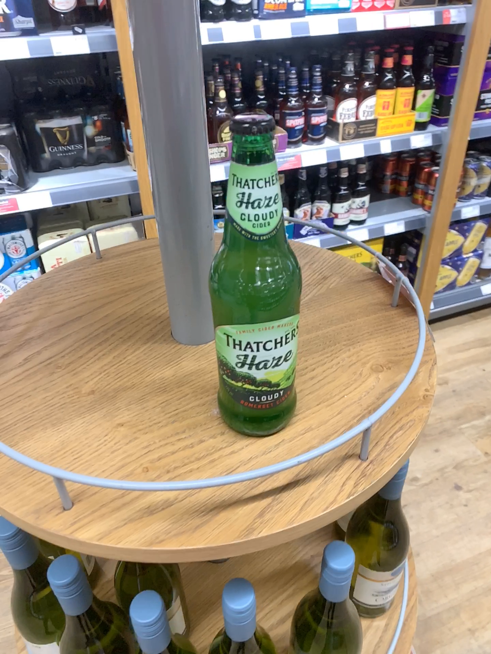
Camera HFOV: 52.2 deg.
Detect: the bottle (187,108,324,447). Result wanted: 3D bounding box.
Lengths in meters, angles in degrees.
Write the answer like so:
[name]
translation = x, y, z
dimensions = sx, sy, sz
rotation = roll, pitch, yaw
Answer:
[bottle]
translation = 0.005, -0.026, 0.377
dimensions = 0.069, 0.240, 0.079
rotation = -7, 36, -8
